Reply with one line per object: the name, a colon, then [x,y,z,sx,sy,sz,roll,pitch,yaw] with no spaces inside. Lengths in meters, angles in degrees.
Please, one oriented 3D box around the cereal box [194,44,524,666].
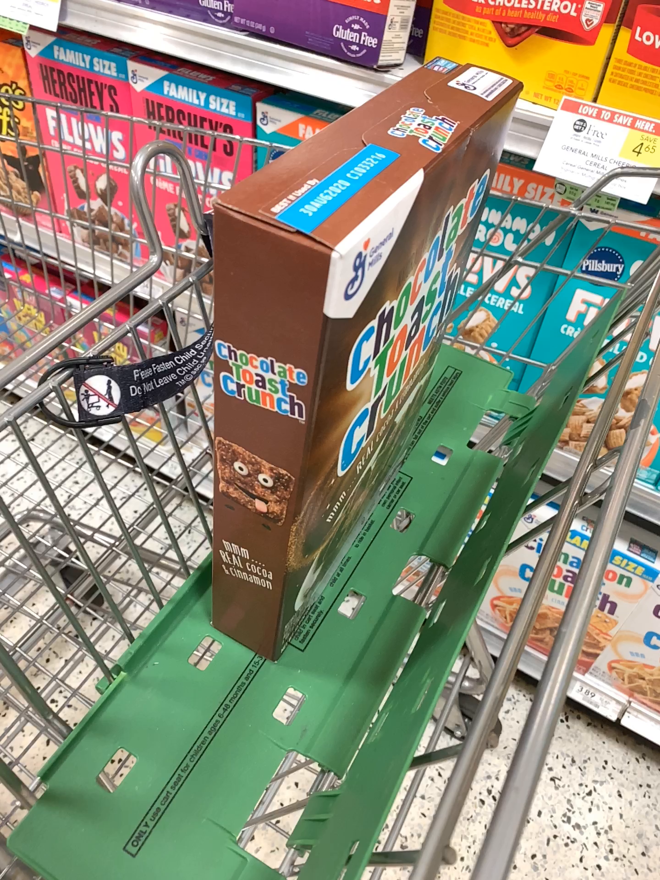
cereal box: [0.009,-0.033,0.371,0.050,0.277,0.202,25,48,14]
